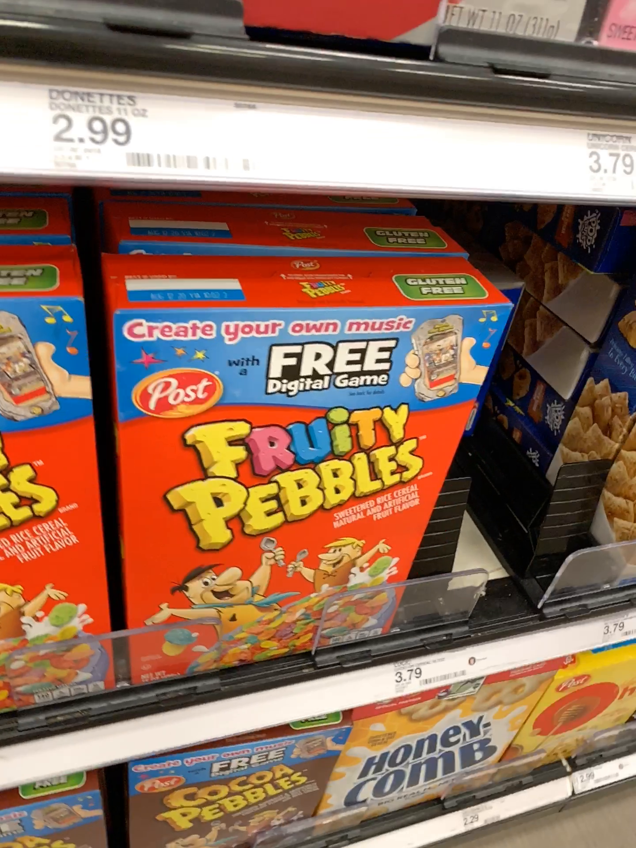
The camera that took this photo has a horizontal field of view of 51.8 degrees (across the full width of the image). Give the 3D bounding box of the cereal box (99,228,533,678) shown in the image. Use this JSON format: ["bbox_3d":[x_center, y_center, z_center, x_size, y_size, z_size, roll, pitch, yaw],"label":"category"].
[{"bbox_3d":[-0.019,0.032,0.402,0.200,0.289,0.060,-5,41,-19],"label":"cereal box"}]
